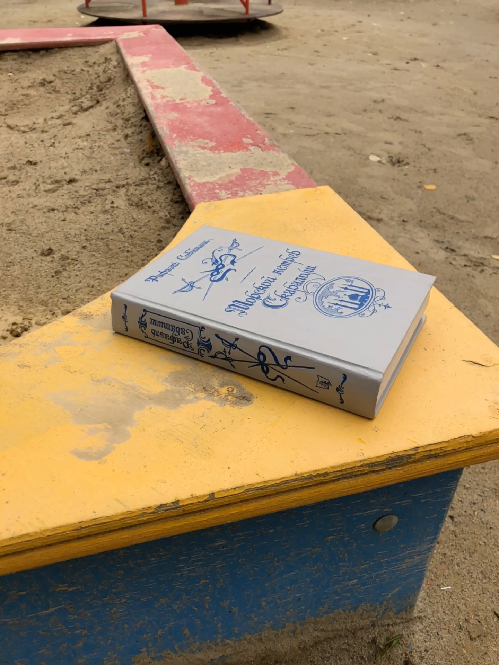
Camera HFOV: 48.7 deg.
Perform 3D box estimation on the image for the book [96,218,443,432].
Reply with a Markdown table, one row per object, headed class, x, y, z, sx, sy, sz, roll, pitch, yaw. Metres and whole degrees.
| class | x | y | z | sx | sy | sz | roll | pitch | yaw |
| --- | --- | --- | --- | --- | --- | --- | --- | --- | --- |
| book | 0.017 | -0.021 | 0.405 | 0.210 | 0.037 | 0.135 | 18 | 39 | 22 |
